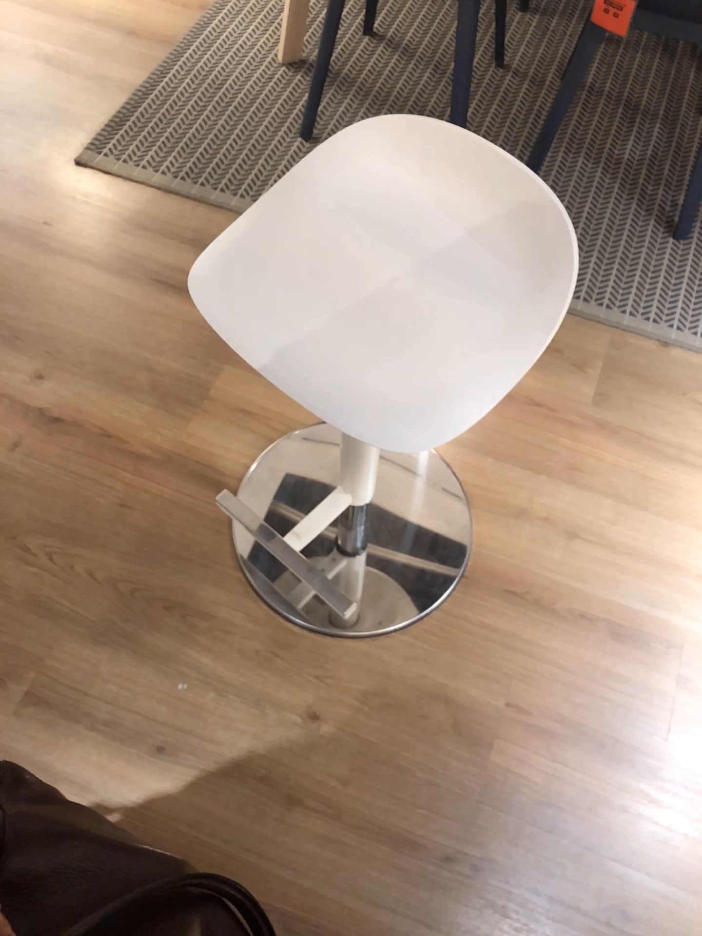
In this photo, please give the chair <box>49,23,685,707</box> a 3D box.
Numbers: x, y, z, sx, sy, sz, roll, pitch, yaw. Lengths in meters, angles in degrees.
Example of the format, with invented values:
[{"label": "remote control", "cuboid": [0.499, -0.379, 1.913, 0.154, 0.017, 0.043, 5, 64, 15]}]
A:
[{"label": "chair", "cuboid": [0.013, -0.080, 1.063, 0.440, 0.699, 0.450, 36, 64, 18]}]
